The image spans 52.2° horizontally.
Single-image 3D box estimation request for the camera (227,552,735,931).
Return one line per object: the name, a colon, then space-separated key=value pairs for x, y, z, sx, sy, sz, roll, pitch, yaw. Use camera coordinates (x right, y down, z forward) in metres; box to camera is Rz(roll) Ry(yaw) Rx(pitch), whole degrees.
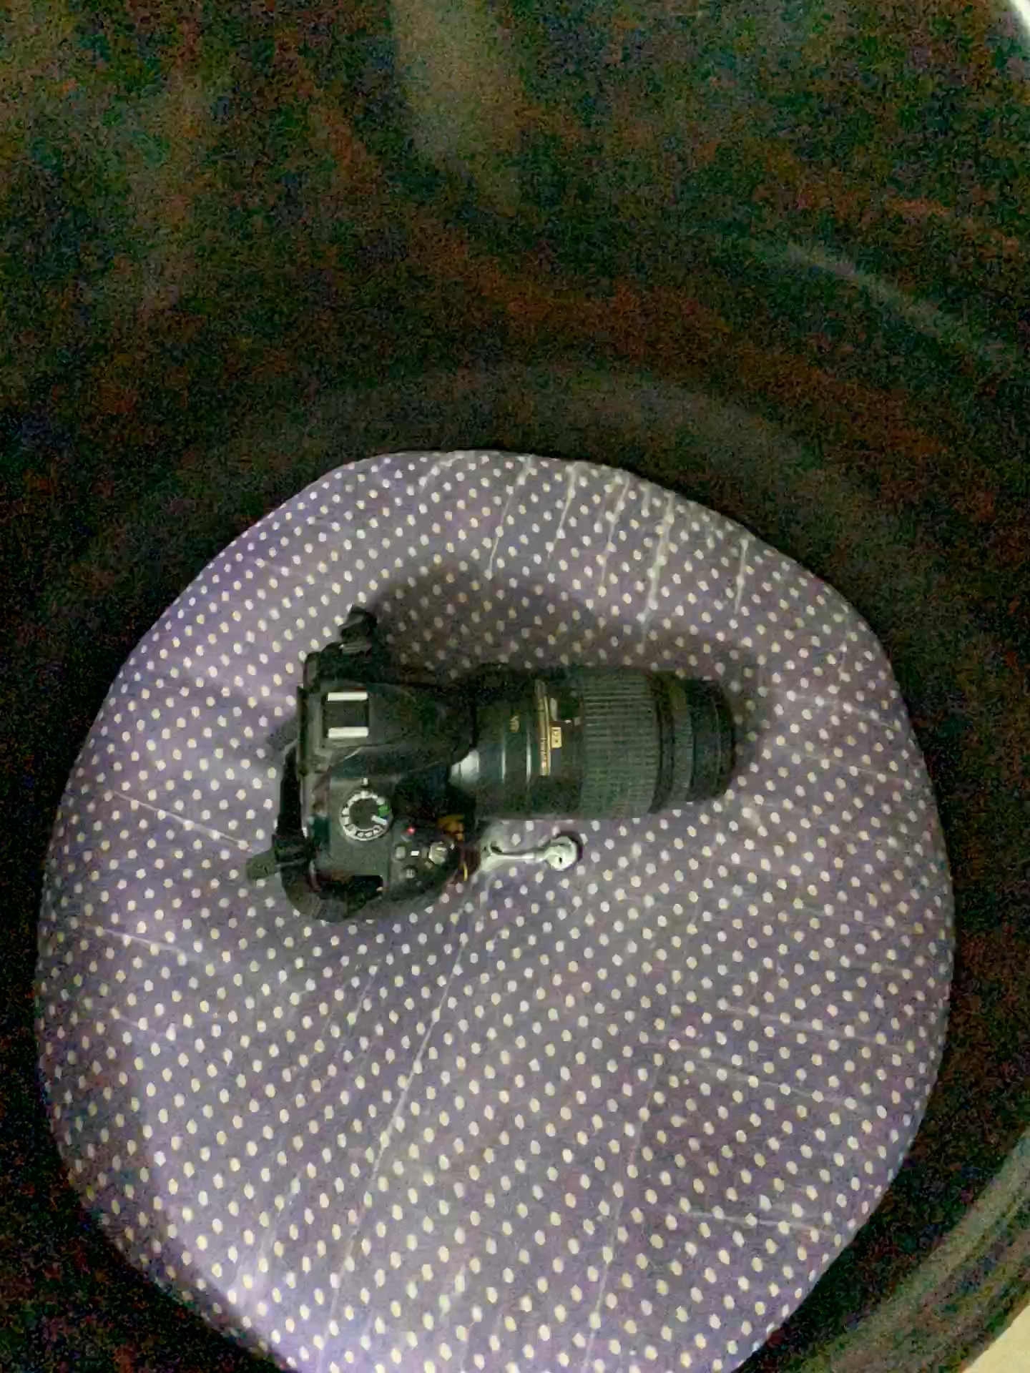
camera: x=-0.022 y=0.027 z=0.482 sx=0.200 sy=0.100 sz=0.140 roll=-3 pitch=70 yaw=-8
